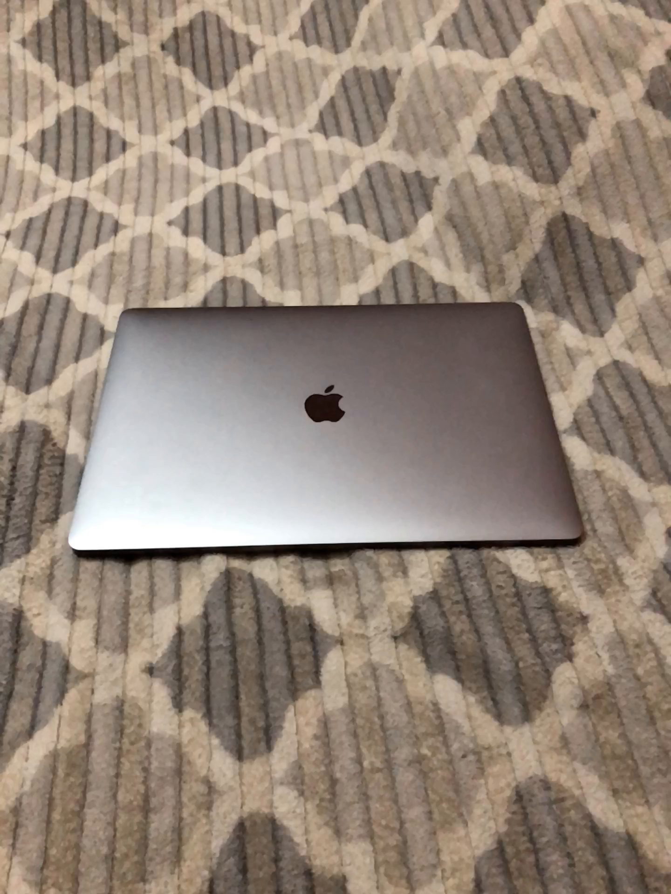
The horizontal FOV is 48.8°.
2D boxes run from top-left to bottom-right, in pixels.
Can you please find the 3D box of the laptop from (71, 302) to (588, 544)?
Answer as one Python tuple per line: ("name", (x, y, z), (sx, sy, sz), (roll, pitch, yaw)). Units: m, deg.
("laptop", (-0.008, -0.032, 0.592), (0.358, 0.007, 0.247), (-1, 51, -1))
